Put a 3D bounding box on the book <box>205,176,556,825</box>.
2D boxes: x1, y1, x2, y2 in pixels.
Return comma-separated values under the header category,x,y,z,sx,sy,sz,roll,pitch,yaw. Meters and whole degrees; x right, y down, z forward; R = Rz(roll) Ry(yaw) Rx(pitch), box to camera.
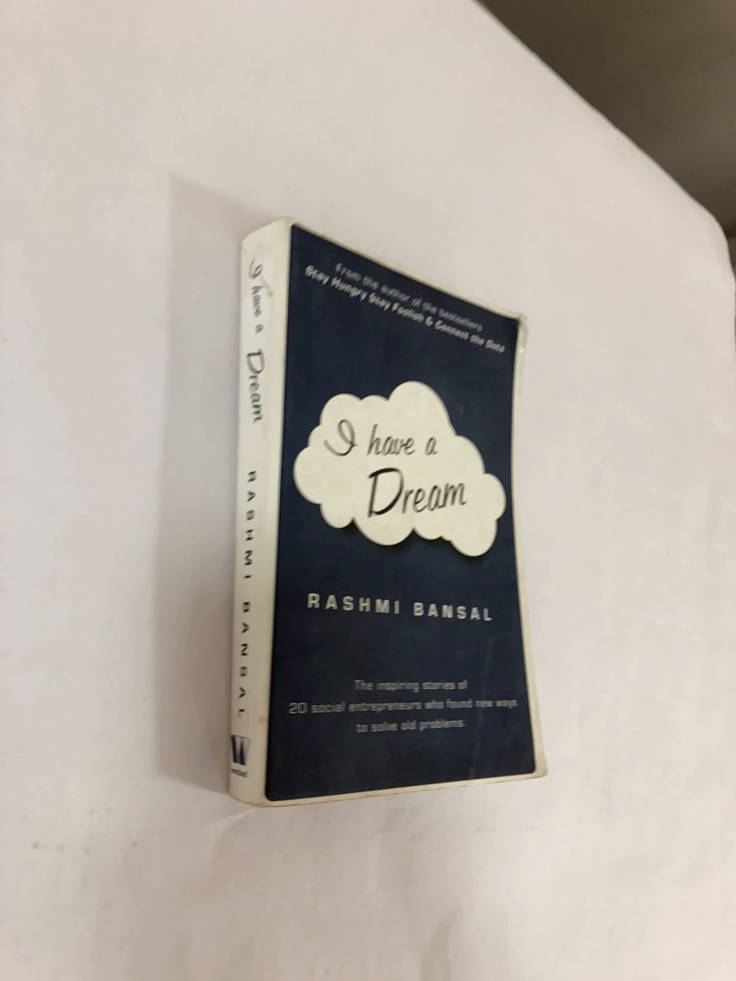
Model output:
category,x,y,z,sx,sy,sz,roll,pitch,yaw
book,0.013,0.008,0.306,0.141,0.030,0.200,12,73,-42
